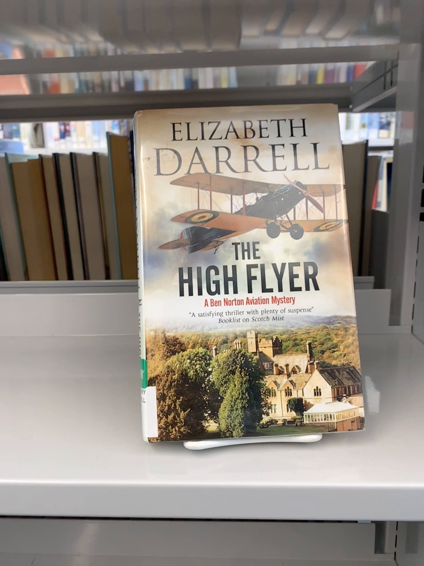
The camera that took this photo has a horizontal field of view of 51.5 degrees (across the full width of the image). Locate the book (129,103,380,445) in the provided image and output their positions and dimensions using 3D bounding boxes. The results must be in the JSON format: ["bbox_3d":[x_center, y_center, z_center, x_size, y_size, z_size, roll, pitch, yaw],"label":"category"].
[{"bbox_3d":[0.025,-0.010,0.297,0.151,0.215,0.031,-2,-5,-4],"label":"book"}]
